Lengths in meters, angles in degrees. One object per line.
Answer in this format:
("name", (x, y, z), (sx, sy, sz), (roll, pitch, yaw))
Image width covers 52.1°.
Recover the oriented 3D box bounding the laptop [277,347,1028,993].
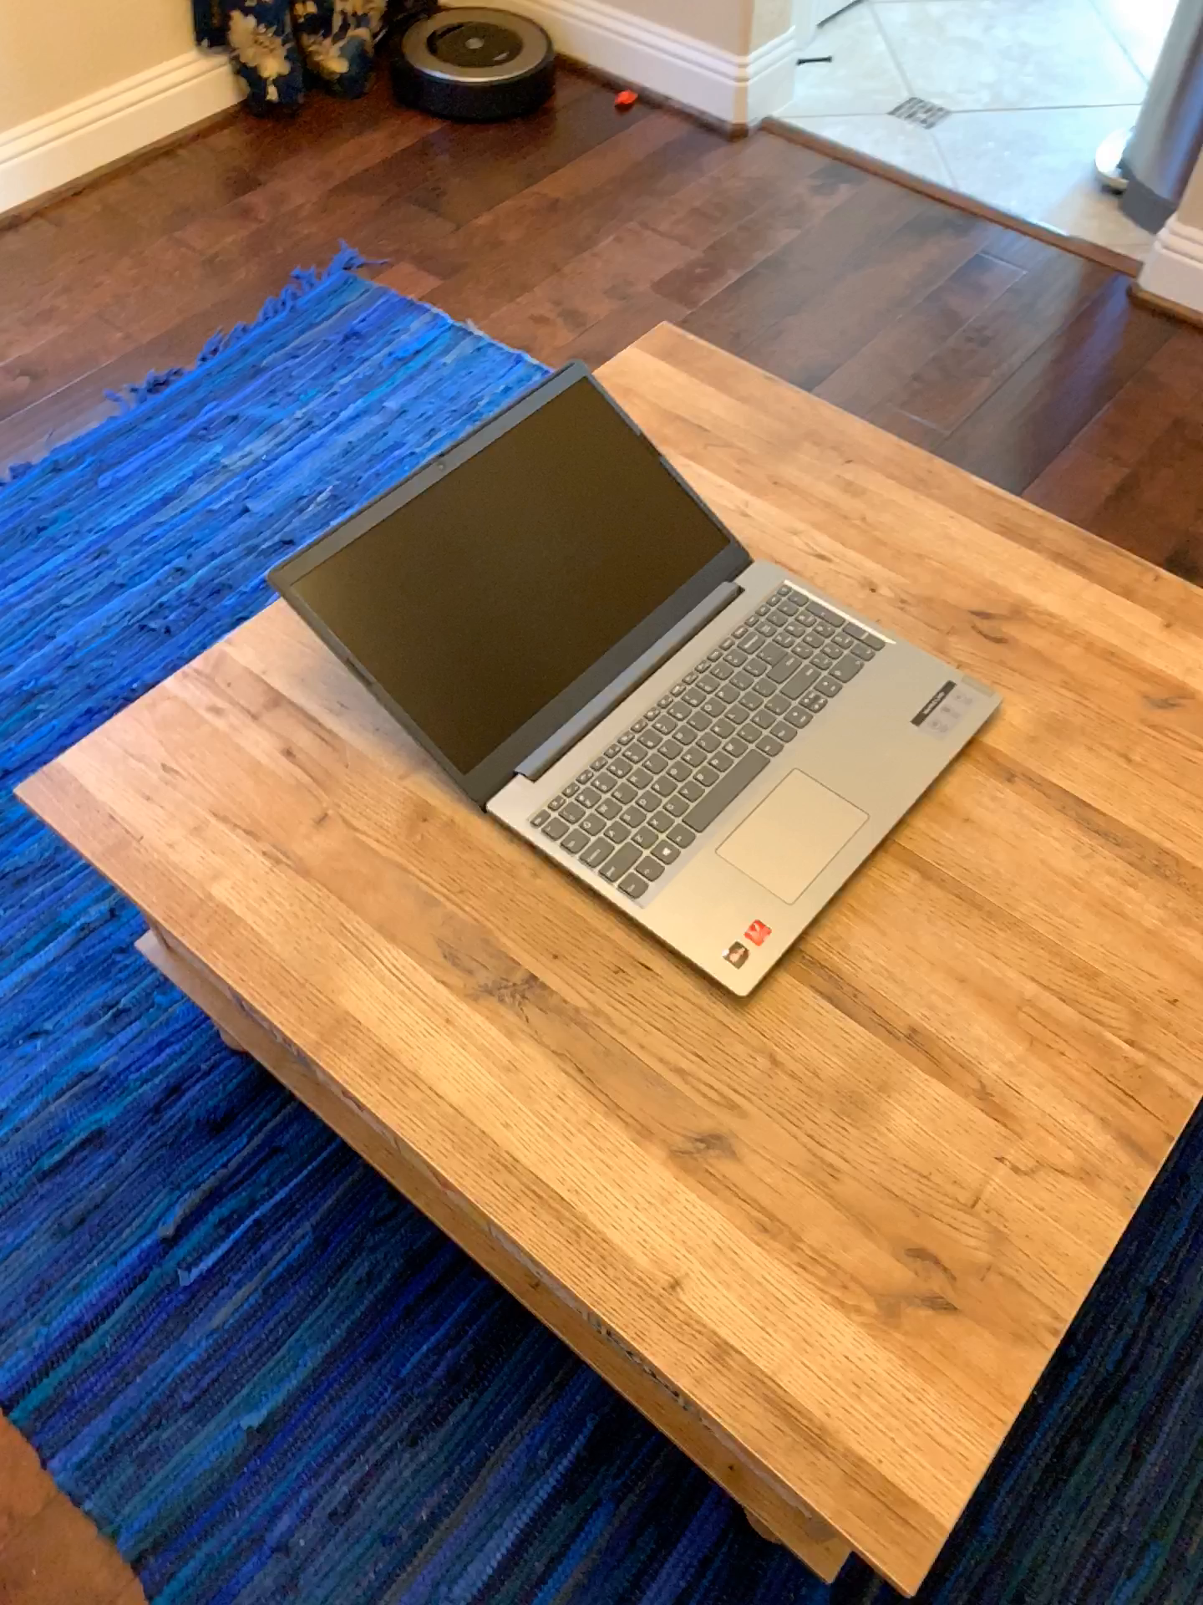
("laptop", (0.038, -0.134, 0.974), (0.461, 0.099, 0.346), (37, 62, 19))
